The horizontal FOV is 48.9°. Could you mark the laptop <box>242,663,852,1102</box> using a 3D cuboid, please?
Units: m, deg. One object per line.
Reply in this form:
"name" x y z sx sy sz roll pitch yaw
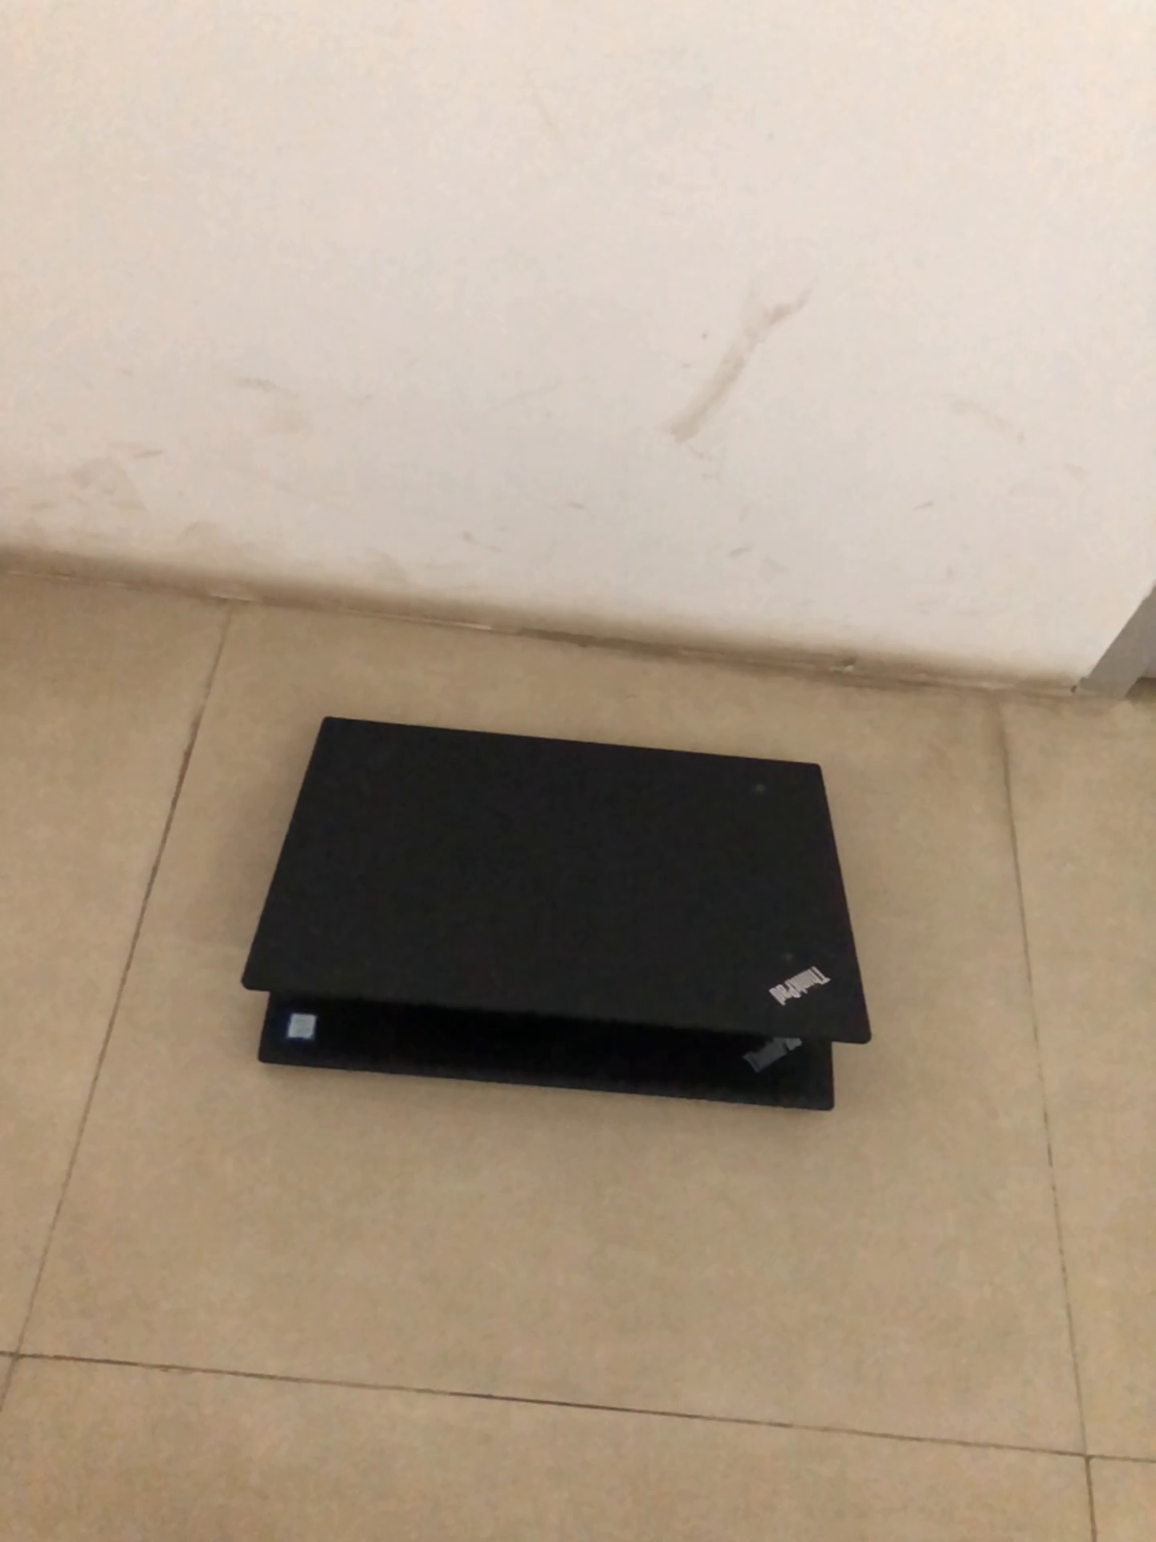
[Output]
"laptop" -0.013 0.067 0.811 0.349 0.071 0.237 5 61 -2
